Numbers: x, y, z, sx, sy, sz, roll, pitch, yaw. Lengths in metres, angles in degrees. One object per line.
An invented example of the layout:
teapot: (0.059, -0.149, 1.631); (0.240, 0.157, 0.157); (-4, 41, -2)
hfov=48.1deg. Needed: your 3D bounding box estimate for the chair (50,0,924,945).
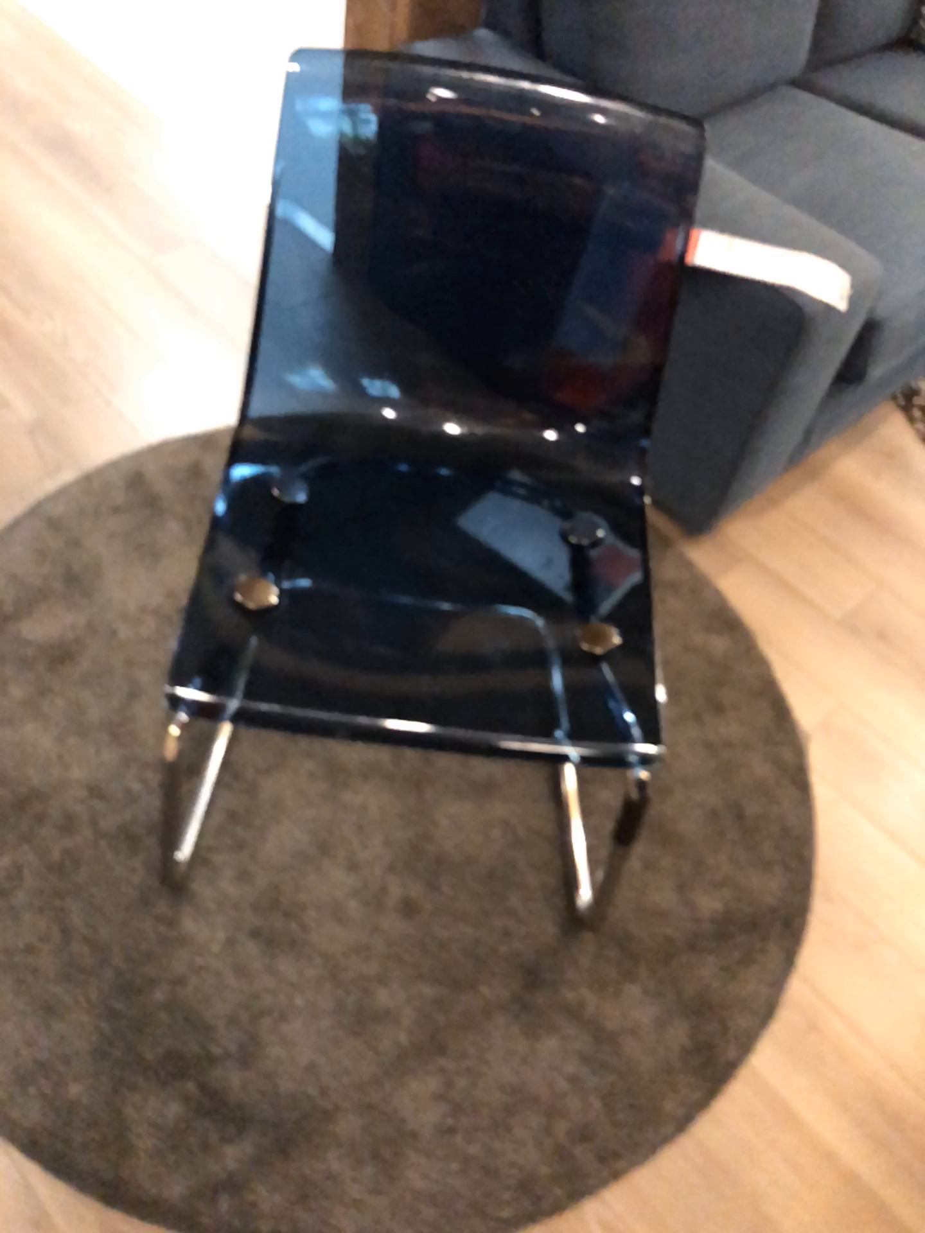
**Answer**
chair: (-0.015, -0.077, 1.141); (0.580, 0.867, 0.502); (7, 50, -5)
